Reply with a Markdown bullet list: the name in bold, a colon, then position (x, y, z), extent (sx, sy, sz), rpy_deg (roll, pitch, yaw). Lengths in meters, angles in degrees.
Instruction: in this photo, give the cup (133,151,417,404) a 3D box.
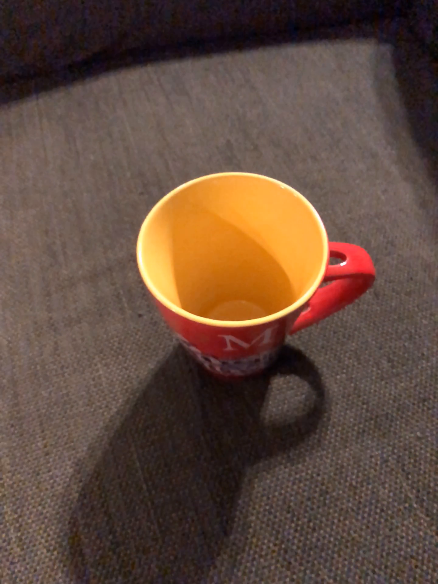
- **cup**: position (0.022, -0.004, 0.278), extent (0.120, 0.100, 0.090), rpy_deg (-7, 60, -2)
